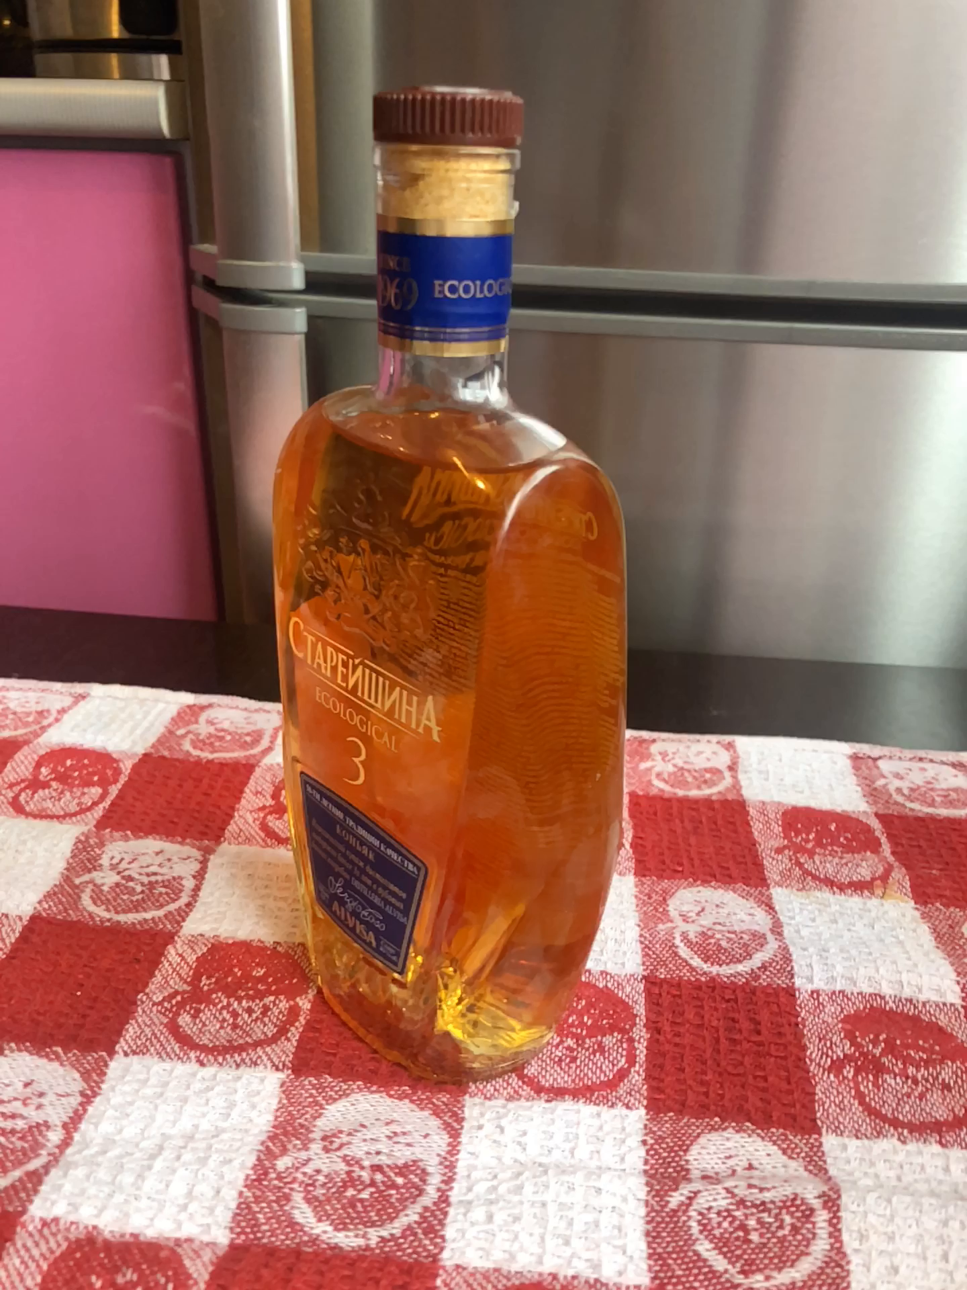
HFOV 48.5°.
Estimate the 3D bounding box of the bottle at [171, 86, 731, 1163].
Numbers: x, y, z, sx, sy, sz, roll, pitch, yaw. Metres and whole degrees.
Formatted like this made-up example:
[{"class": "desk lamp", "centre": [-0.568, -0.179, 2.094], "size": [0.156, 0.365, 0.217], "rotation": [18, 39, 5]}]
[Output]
[{"class": "bottle", "centre": [-0.016, -0.006, 0.252], "size": [0.050, 0.219, 0.110], "rotation": [-18, 32, -35]}]
